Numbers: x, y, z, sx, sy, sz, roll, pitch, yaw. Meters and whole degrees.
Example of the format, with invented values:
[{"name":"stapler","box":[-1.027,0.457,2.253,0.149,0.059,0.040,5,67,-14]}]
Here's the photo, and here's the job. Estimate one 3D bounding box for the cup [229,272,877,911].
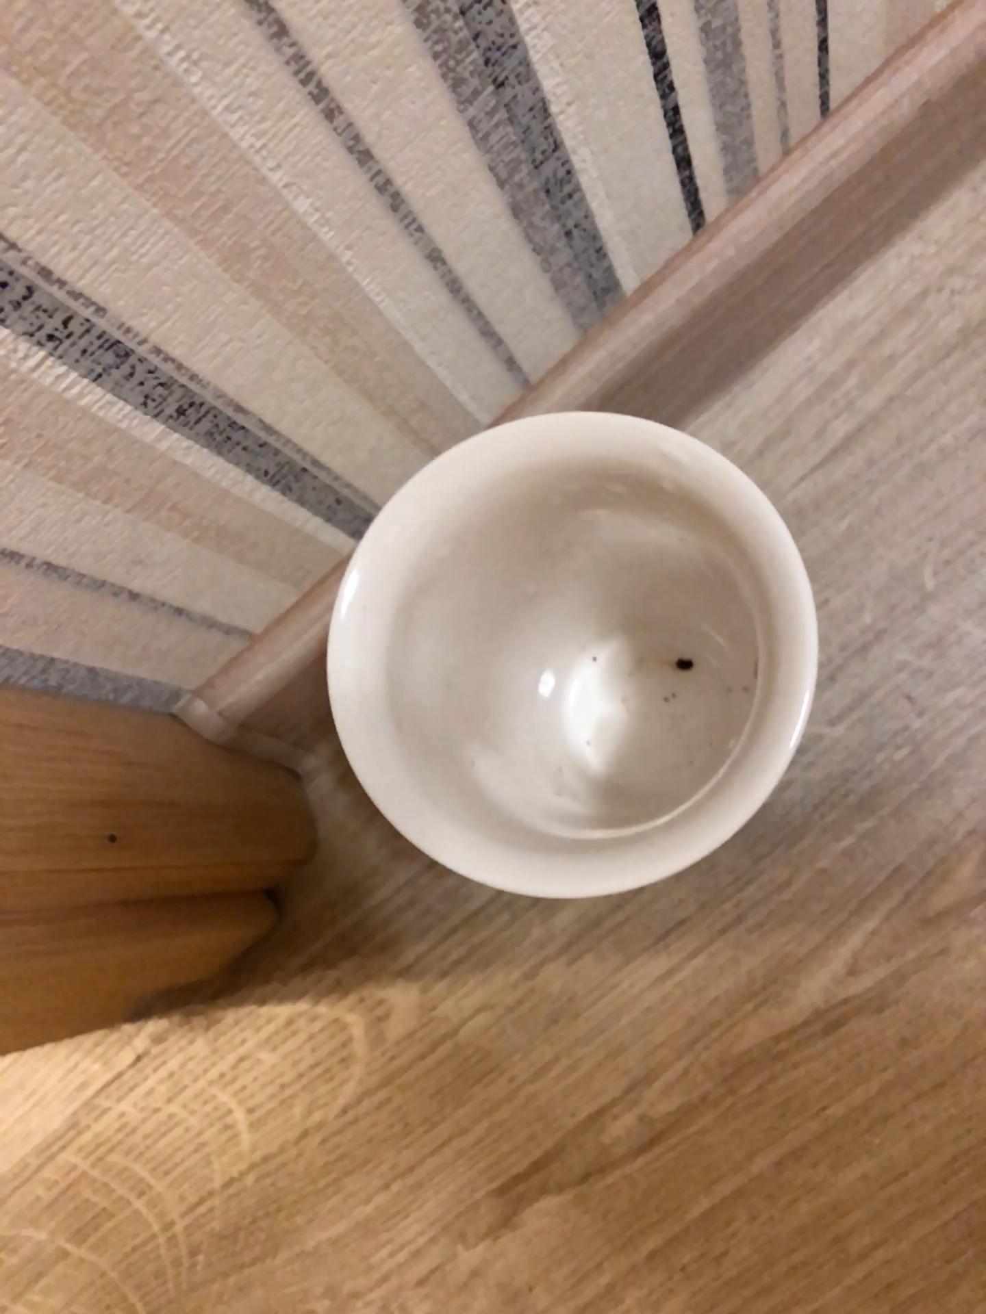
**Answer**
[{"name":"cup","box":[0.027,-0.007,0.267,0.095,0.133,0.097,-3,80,17]}]
